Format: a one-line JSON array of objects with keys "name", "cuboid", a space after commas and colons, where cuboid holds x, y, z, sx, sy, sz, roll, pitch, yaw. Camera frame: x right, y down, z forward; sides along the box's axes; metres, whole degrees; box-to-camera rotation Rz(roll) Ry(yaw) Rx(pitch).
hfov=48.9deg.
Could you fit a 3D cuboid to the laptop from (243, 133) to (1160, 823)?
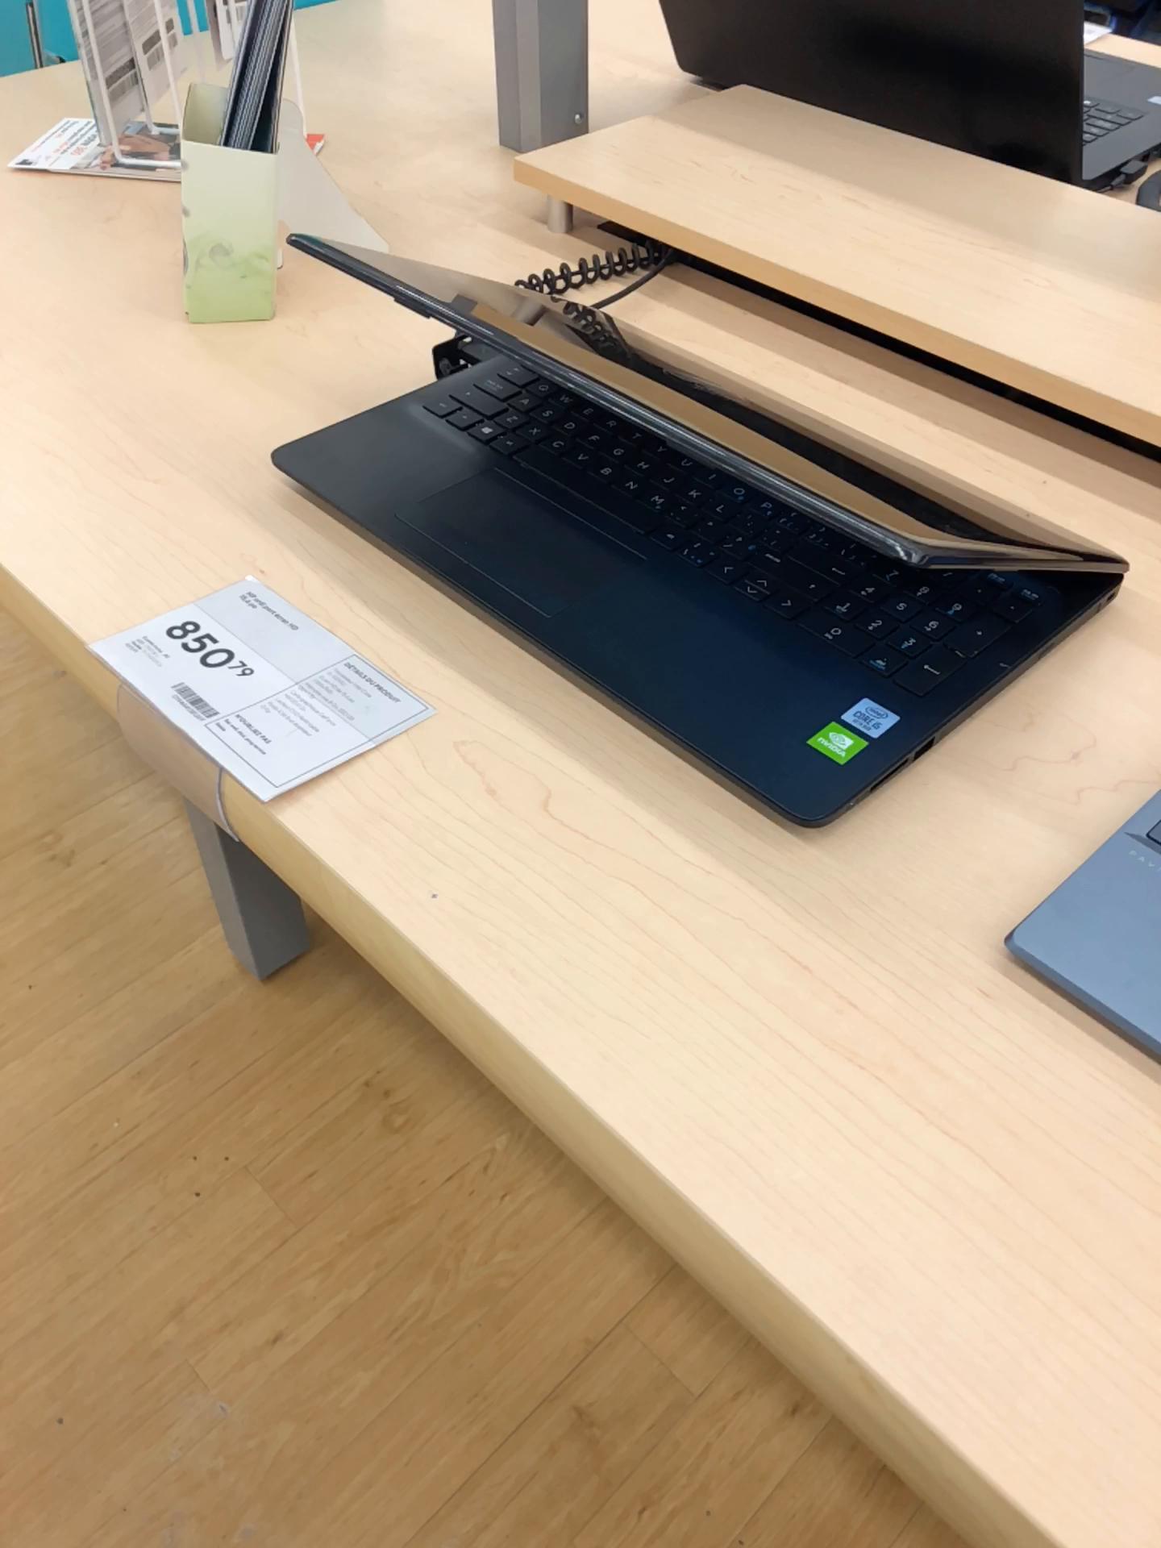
[{"name": "laptop", "cuboid": [0.046, -0.176, 0.616, 0.239, 0.115, 0.372, -33, 52, -30]}]
